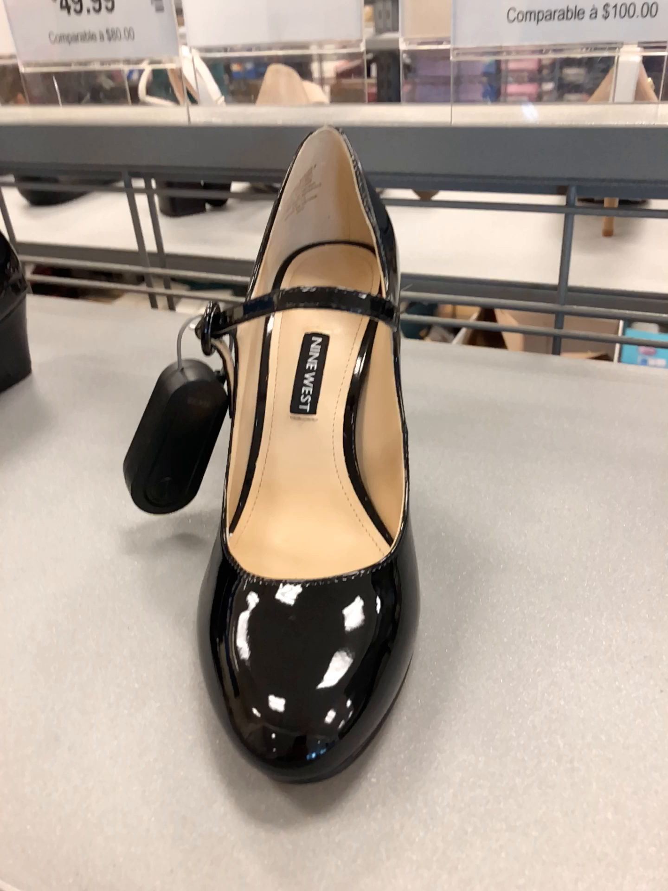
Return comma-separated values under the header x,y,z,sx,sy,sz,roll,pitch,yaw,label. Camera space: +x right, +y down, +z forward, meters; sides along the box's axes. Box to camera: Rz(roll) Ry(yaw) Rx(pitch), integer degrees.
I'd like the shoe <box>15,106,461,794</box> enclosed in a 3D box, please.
x,y,z,sx,sy,sz,roll,pitch,yaw,label
-0.004,-0.029,0.294,0.090,0.151,0.258,0,33,7,shoe
